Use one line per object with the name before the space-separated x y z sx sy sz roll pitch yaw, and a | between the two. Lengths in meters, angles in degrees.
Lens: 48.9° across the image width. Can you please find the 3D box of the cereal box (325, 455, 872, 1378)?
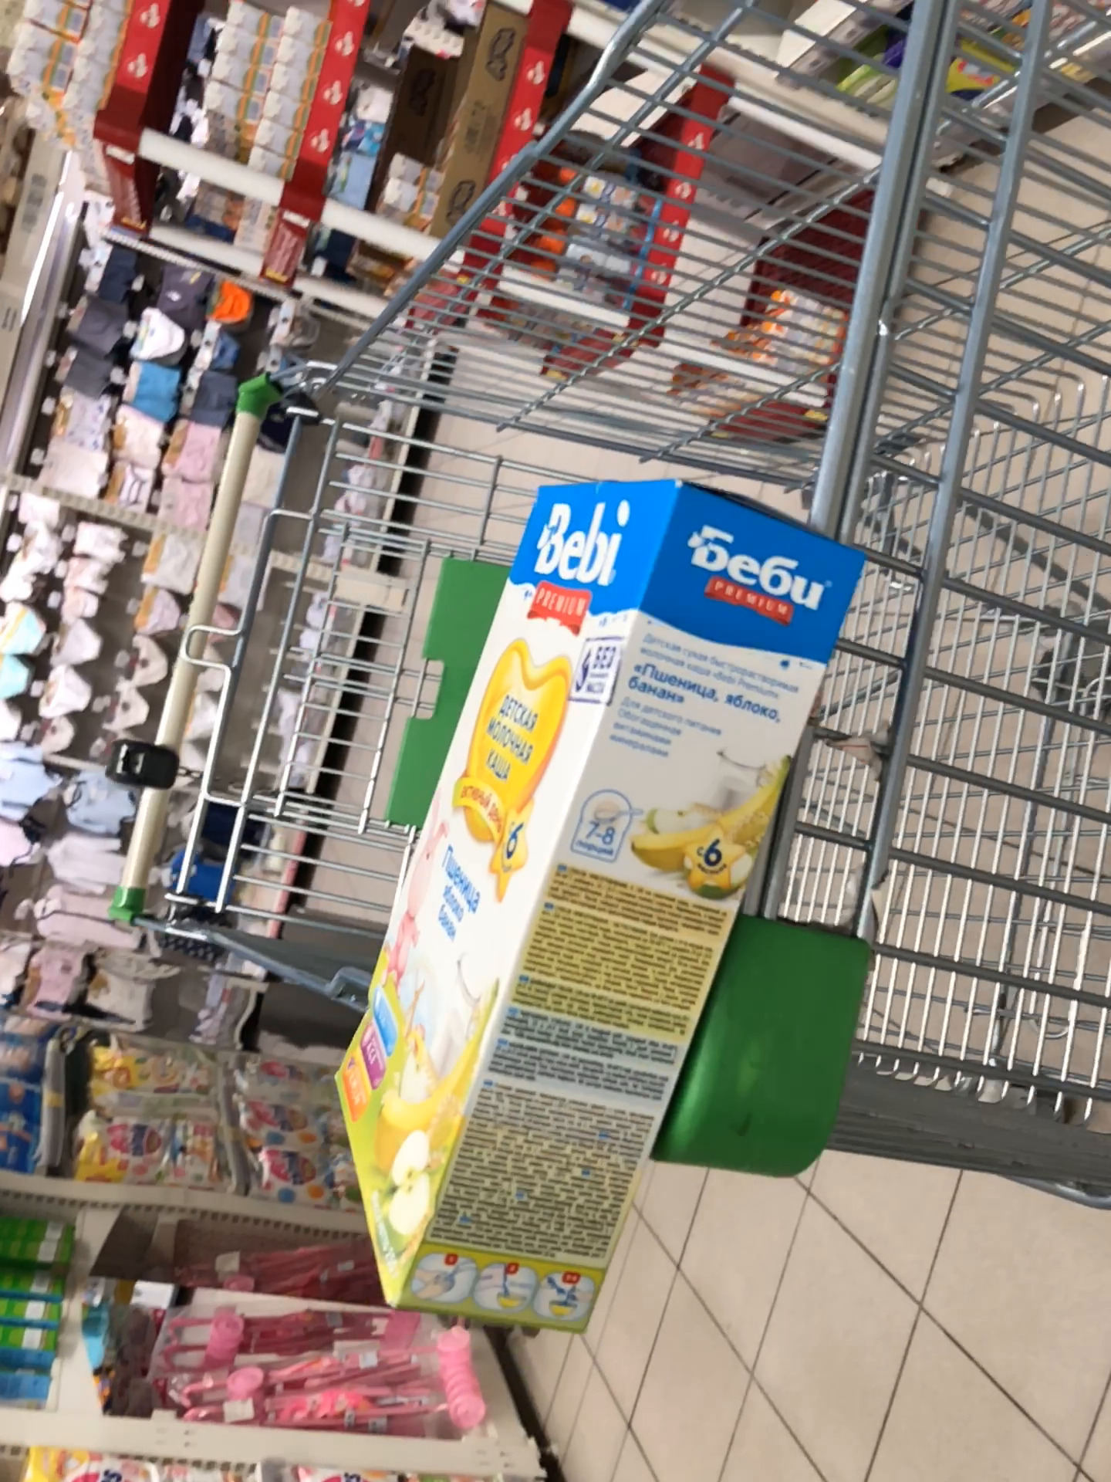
cereal box | -0.003 0.034 0.336 0.130 0.050 0.210 -144 72 -73
